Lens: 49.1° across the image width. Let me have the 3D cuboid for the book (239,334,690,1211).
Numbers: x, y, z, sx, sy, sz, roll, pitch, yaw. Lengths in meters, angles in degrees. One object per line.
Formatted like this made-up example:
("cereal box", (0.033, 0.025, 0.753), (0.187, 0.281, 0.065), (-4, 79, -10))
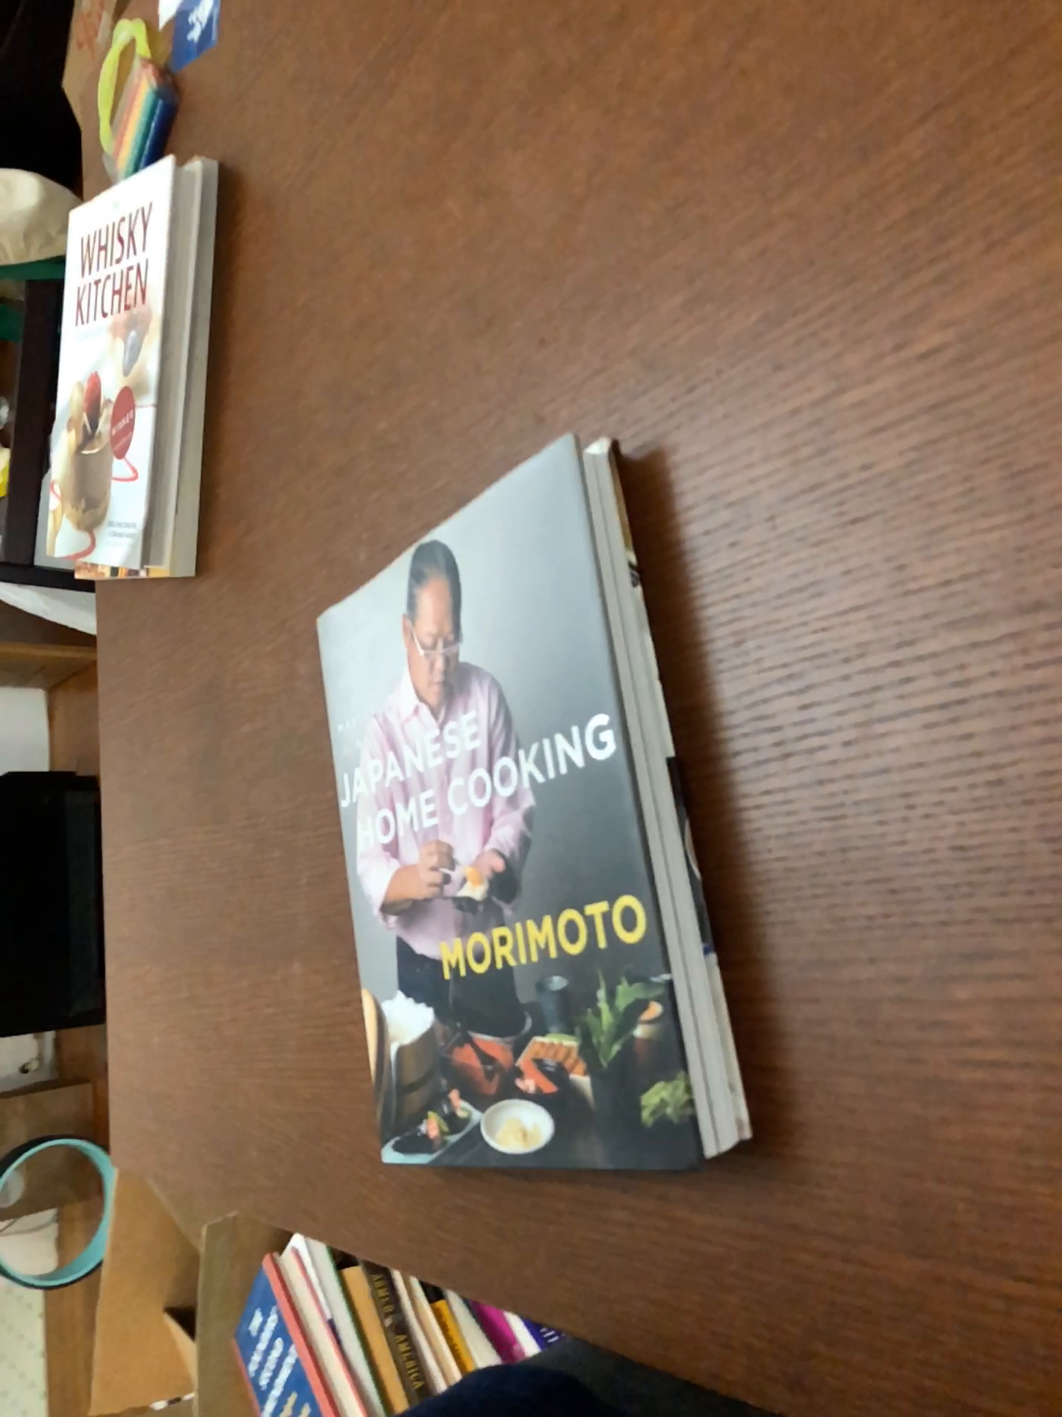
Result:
("book", (-0.049, 0.039, 0.479), (0.221, 0.030, 0.300), (-26, 68, 49))
